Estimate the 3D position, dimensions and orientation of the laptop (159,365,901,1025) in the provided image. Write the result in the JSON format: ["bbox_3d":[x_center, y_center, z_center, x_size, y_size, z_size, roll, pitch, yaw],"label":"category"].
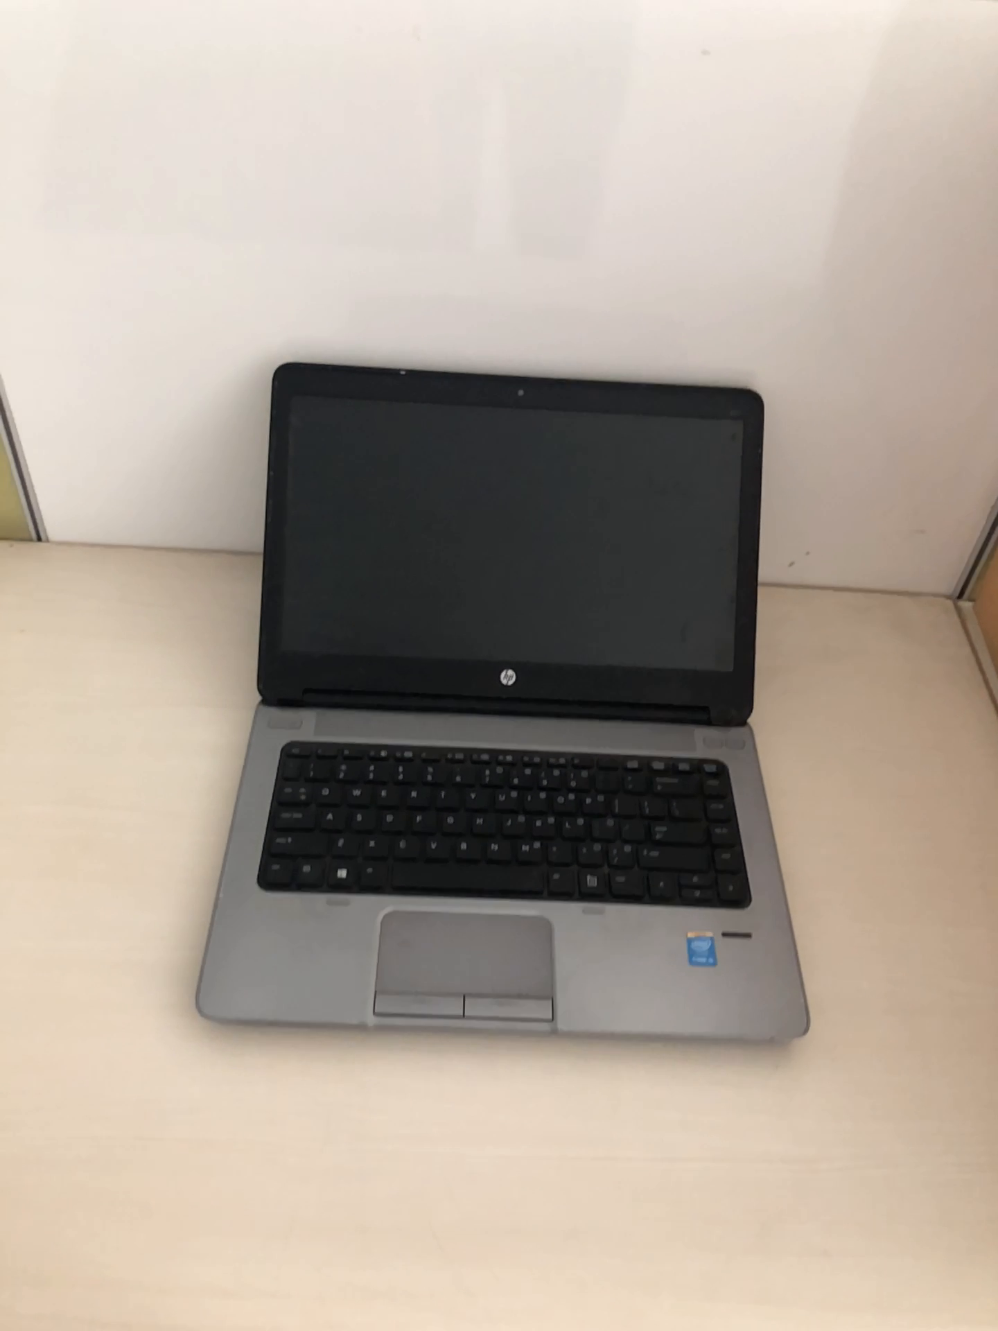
[{"bbox_3d":[0.012,-0.004,0.660,0.322,0.148,0.379,3,46,-2],"label":"laptop"}]
